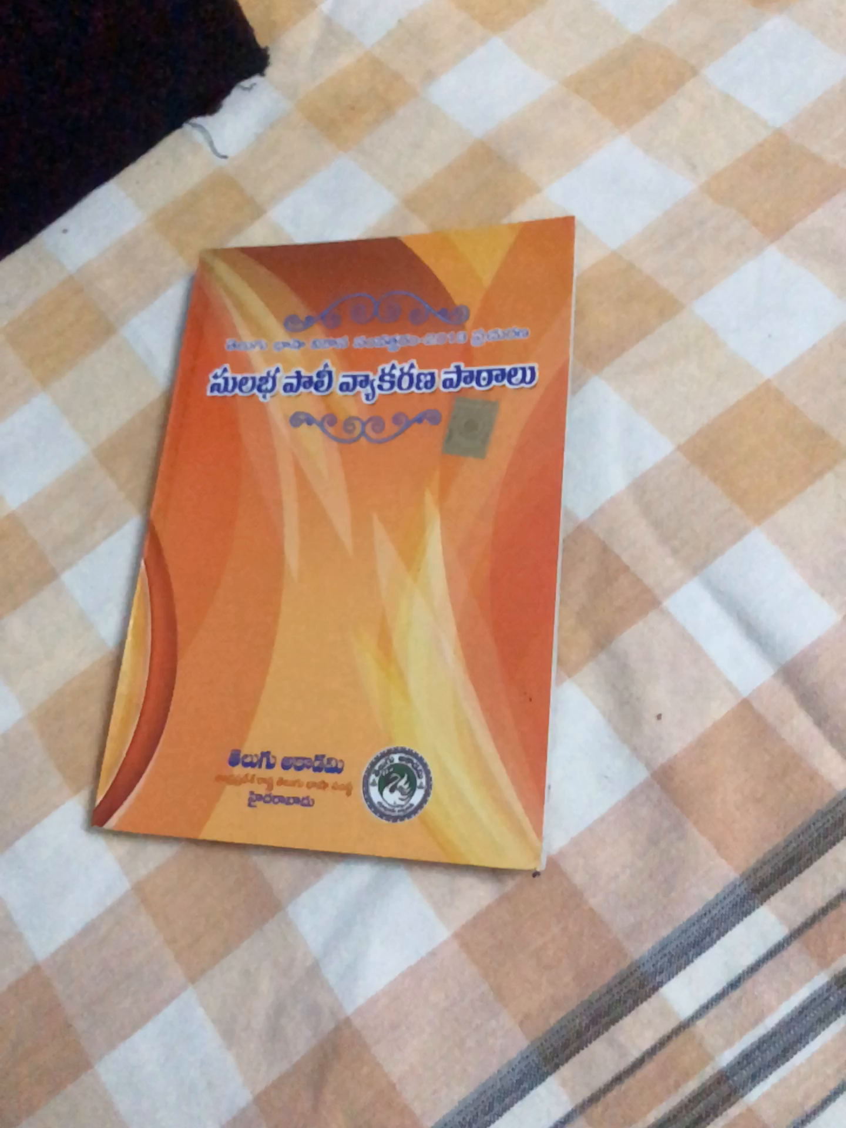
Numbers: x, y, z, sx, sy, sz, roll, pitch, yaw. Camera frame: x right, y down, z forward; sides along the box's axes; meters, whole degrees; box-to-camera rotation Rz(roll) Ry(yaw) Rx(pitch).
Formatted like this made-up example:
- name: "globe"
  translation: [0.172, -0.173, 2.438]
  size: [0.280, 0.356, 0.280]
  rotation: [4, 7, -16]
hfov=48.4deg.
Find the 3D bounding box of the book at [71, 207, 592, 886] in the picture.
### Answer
- name: "book"
  translation: [-0.022, -0.015, 0.299]
  size: [0.140, 0.020, 0.210]
  rotation: [1, 71, 13]
